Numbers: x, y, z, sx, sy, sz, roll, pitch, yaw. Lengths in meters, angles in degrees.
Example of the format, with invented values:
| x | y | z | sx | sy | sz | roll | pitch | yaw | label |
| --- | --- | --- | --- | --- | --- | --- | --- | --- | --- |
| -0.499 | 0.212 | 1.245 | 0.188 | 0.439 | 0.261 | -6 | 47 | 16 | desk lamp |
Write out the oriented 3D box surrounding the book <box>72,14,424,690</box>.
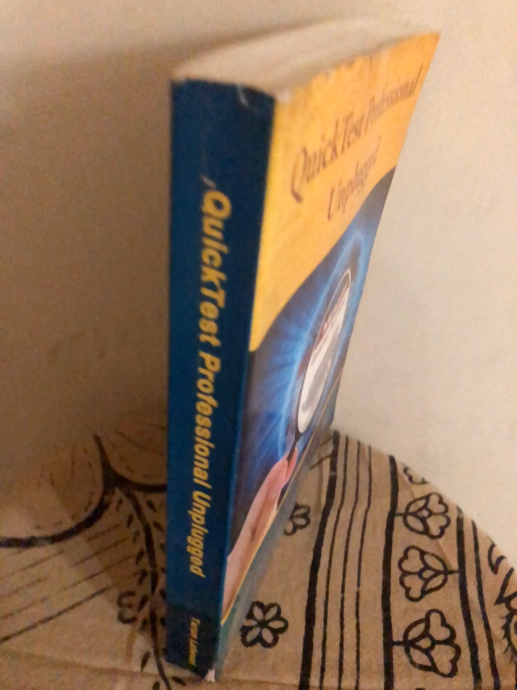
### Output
| x | y | z | sx | sy | sz | roll | pitch | yaw | label |
| --- | --- | --- | --- | --- | --- | --- | --- | --- | --- |
| 0.008 | -0.003 | 0.281 | 0.050 | 0.269 | 0.211 | 16 | 33 | 16 | book |
